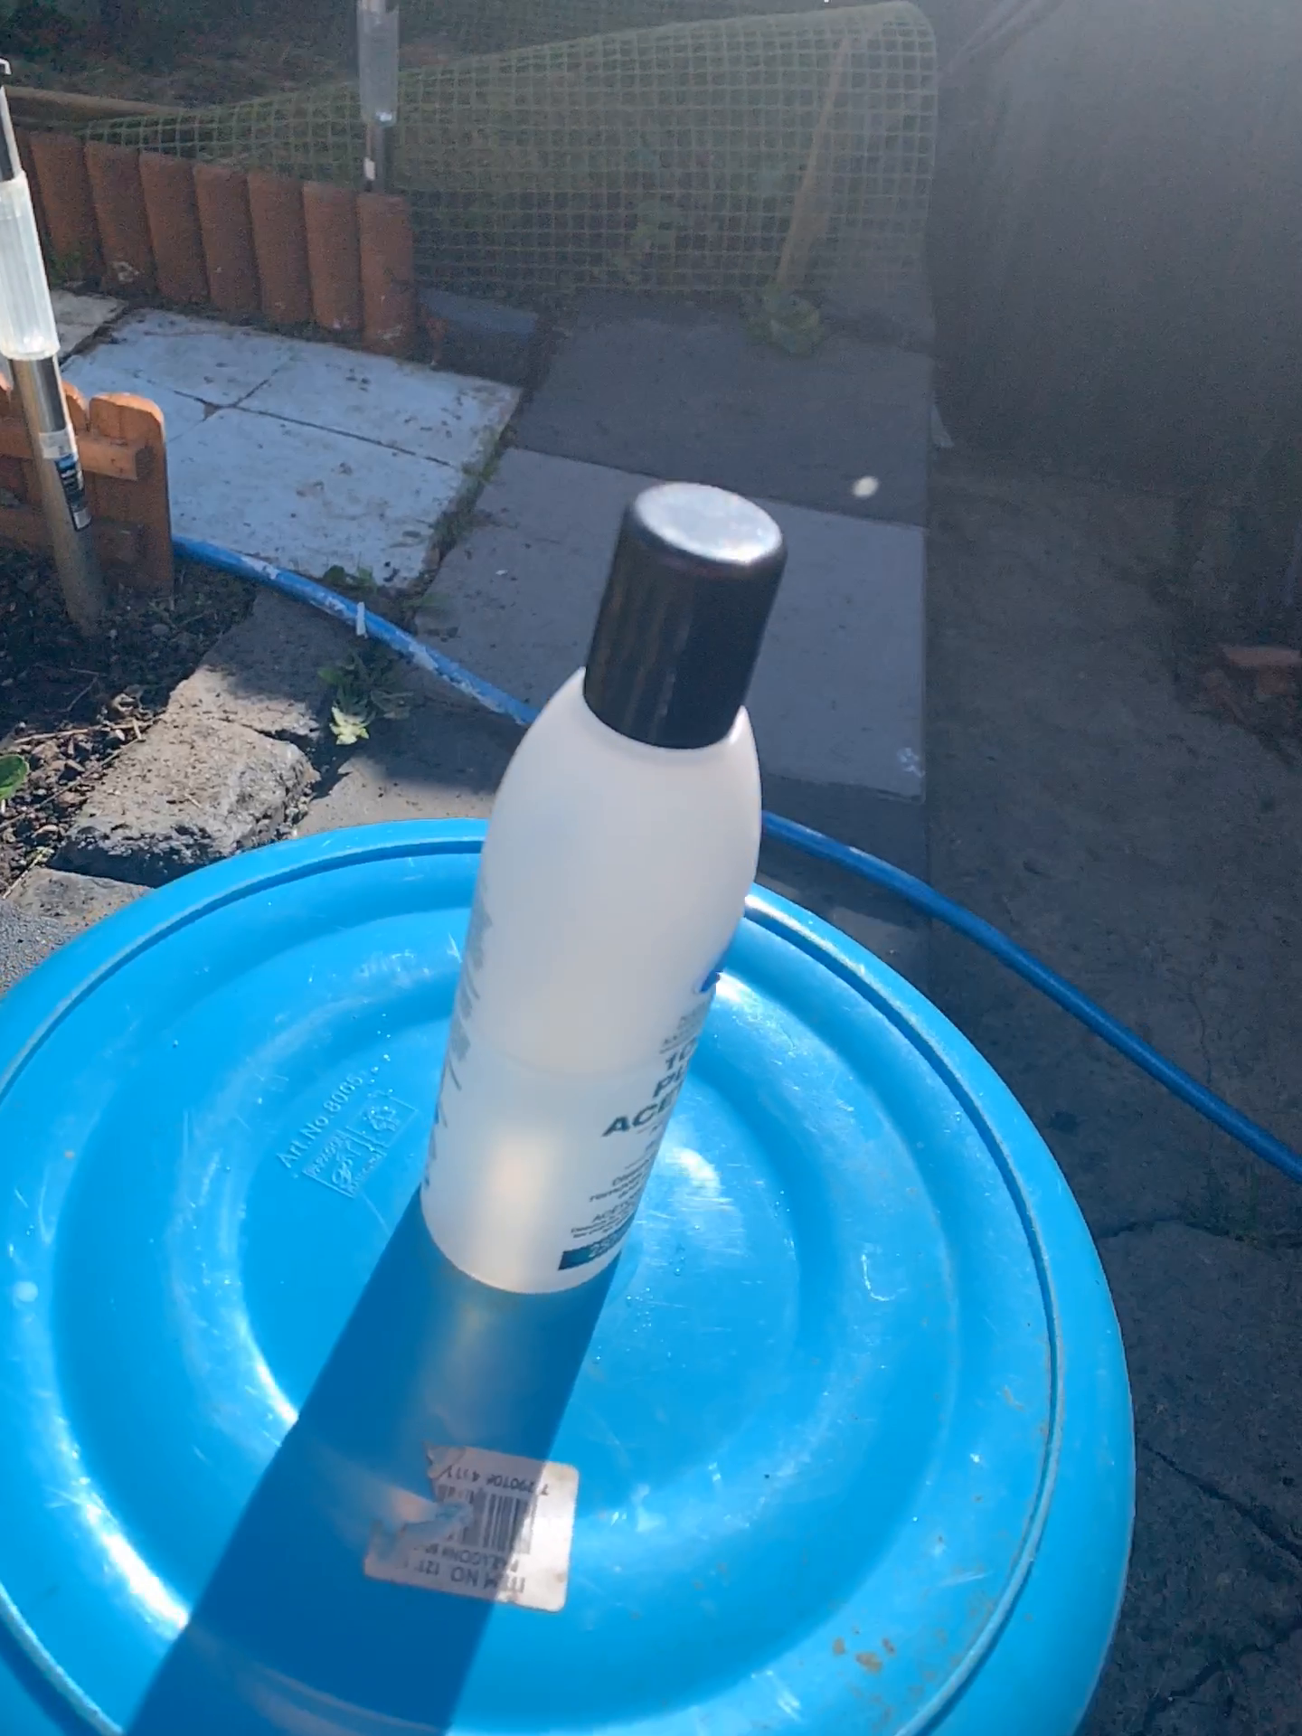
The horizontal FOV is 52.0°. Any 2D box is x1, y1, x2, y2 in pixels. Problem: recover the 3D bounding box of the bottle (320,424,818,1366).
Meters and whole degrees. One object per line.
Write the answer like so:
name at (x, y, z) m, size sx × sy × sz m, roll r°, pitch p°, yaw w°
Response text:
bottle at (-0.021, 0.017, 0.260) m, size 0.060 × 0.178 × 0.061 m, roll 6°, pitch 42°, yaw -5°
